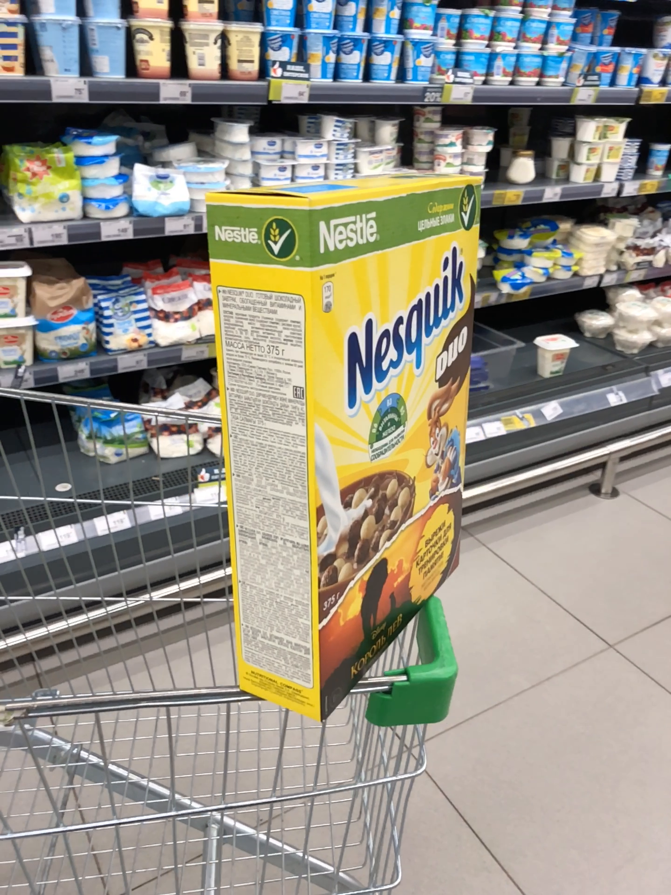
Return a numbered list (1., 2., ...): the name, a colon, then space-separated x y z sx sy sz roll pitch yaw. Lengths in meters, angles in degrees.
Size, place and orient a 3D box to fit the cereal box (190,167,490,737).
1. cereal box: 0.016 -0.013 0.435 0.060 0.279 0.201 13 26 29
